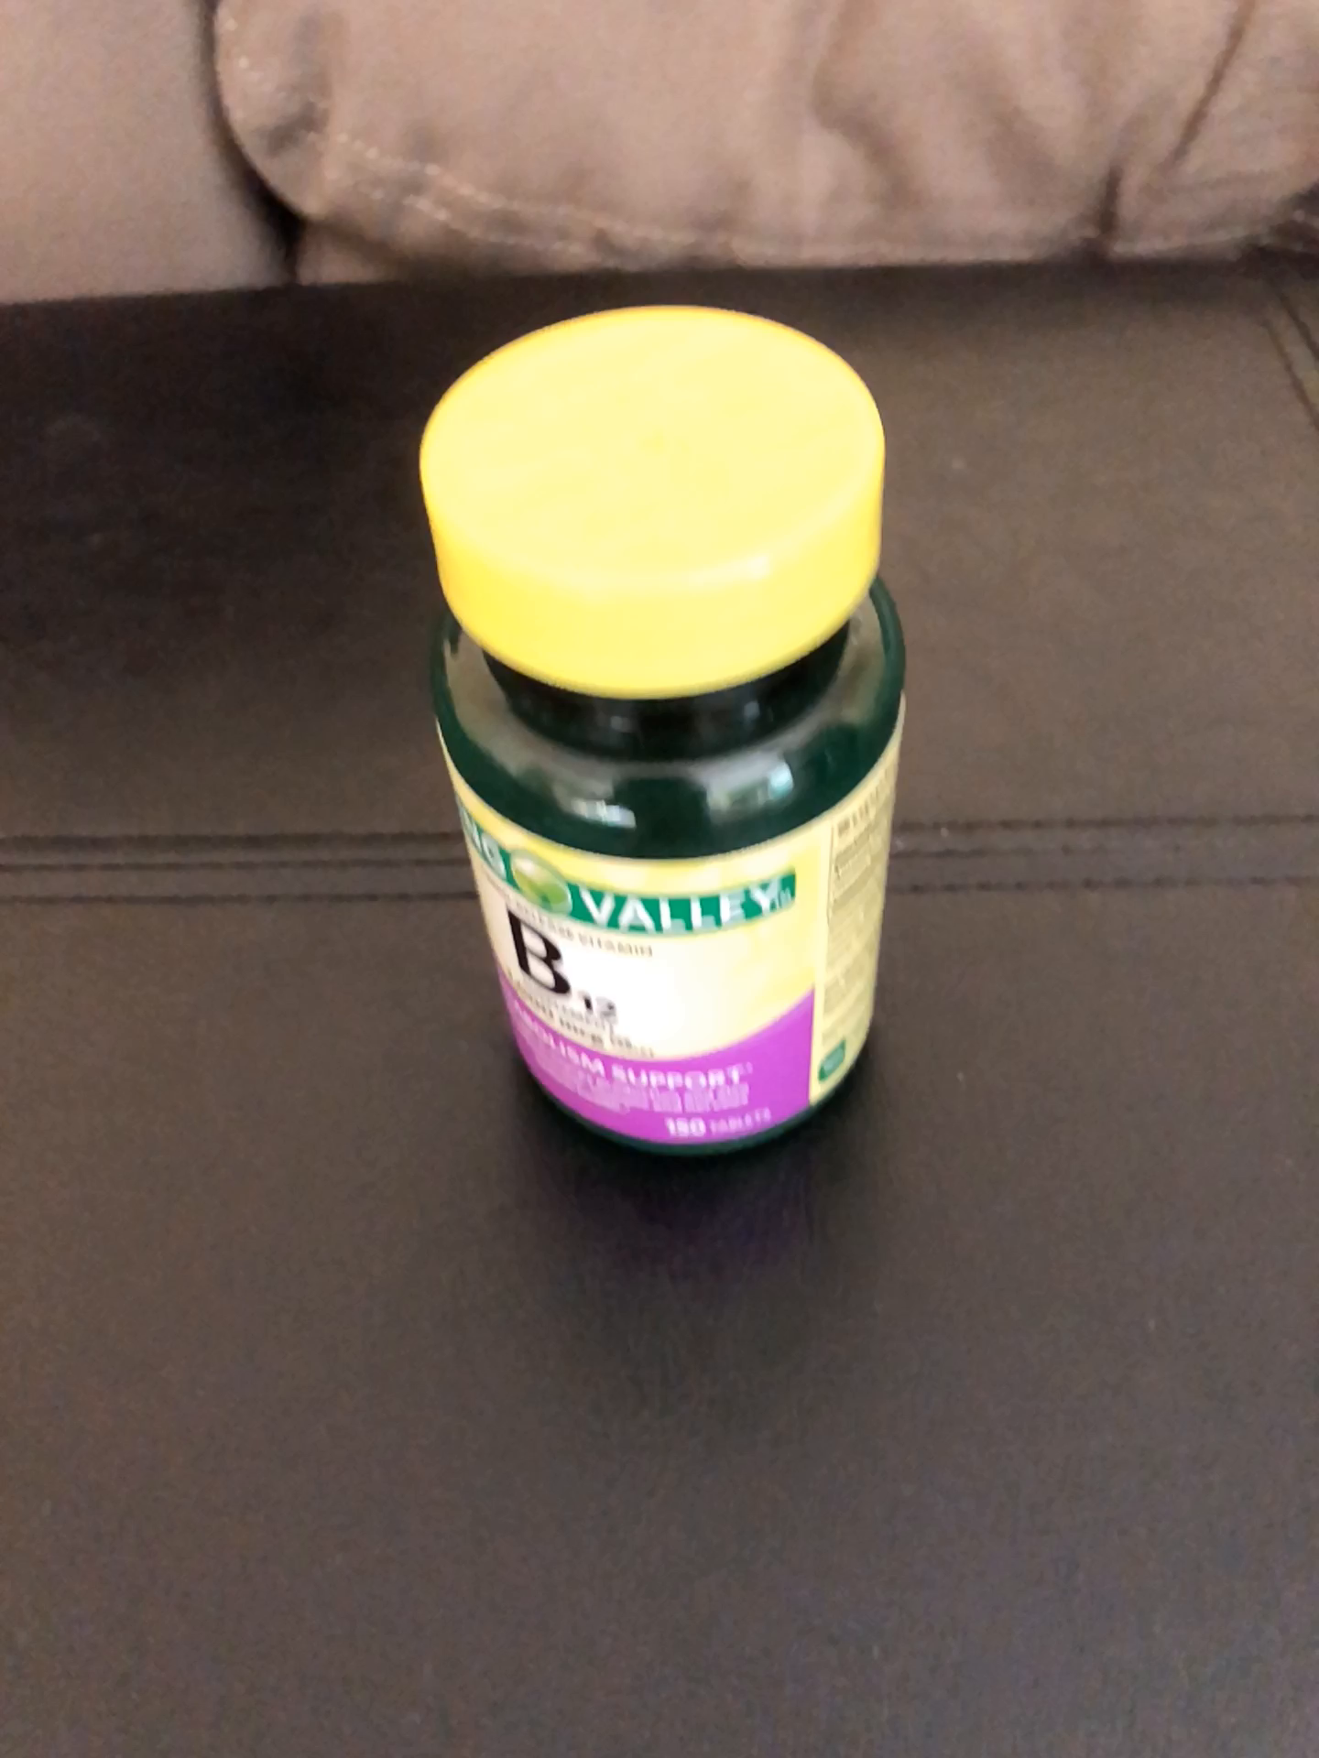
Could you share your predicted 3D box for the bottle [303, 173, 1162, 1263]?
[{"bbox_3d":[0.009,-0.013,0.156,0.050,0.090,0.050,-2,50,2],"label":"bottle"}]
